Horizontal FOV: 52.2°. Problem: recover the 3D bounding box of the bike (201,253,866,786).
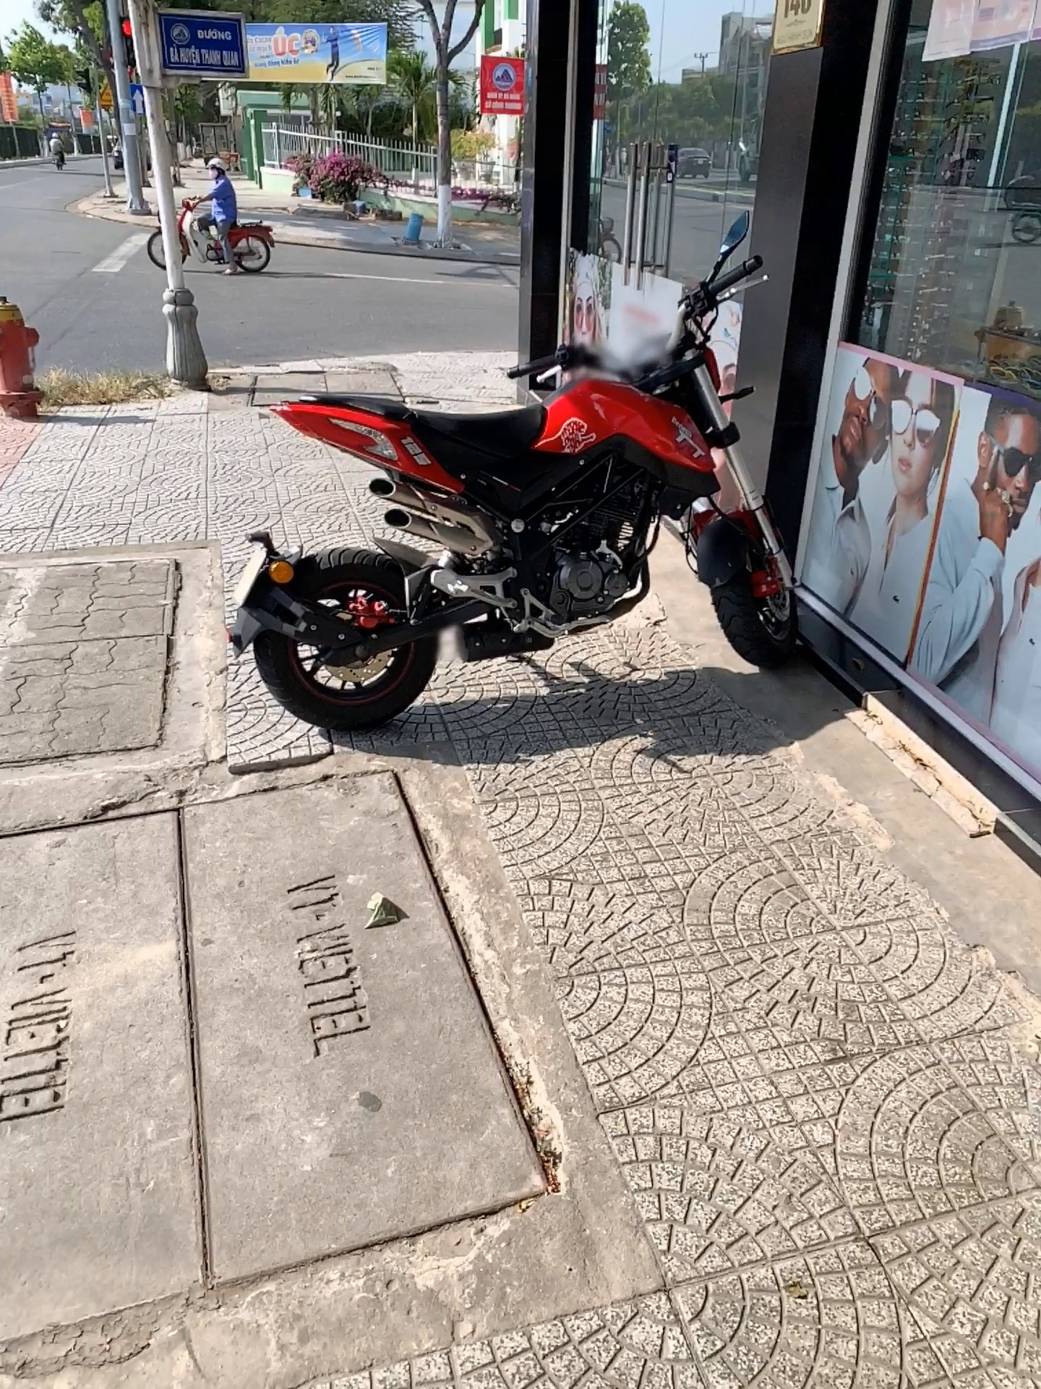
[{"bbox_3d":[0.103,-0.738,3.446,2.123,1.216,0.835,-15,31,-31],"label":"bike"}]
